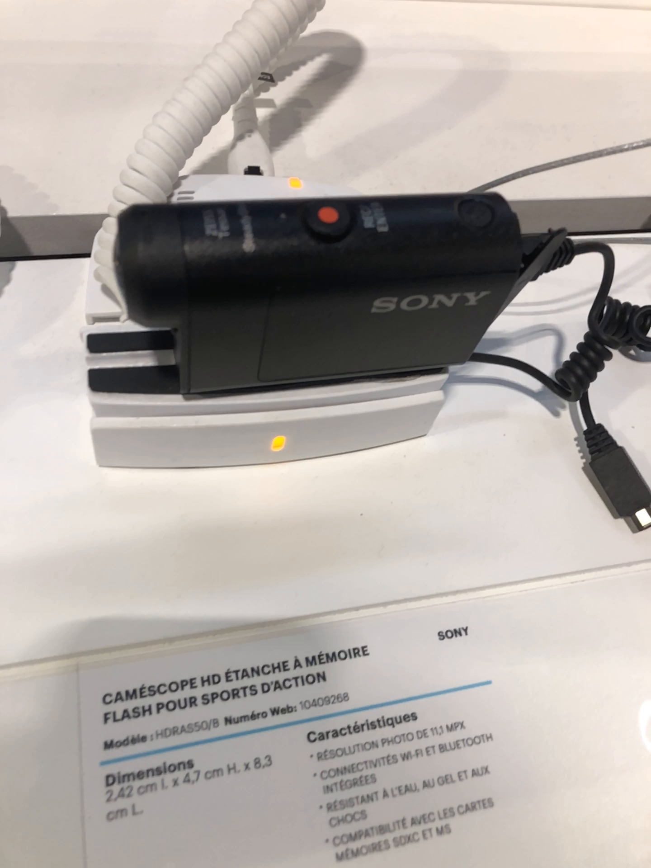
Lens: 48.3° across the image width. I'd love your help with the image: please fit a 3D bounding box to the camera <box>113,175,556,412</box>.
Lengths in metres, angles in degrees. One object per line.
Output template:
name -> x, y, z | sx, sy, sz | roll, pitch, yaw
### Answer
camera -> 0.000, -0.029, 0.152 | 0.080, 0.045, 0.020 | -6, 60, -13
